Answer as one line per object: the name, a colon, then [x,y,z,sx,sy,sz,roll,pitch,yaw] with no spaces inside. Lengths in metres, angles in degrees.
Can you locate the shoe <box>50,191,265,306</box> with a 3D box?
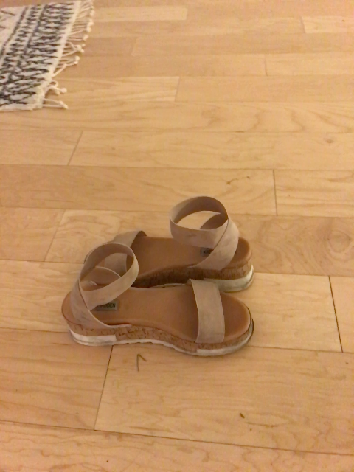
shoe: [-0.019,0.018,0.575,0.280,0.119,0.111,2,50,7]

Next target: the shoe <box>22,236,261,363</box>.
shoe: [-0.036,0.083,0.519,0.280,0.109,0.111,3,50,7]
